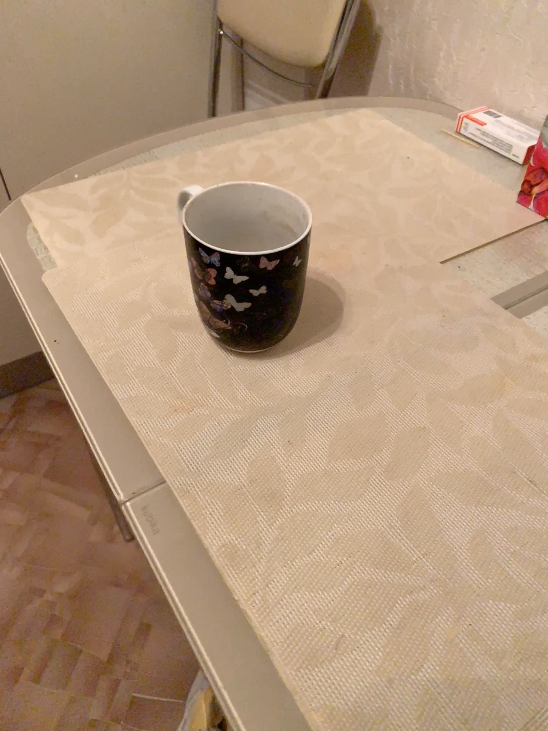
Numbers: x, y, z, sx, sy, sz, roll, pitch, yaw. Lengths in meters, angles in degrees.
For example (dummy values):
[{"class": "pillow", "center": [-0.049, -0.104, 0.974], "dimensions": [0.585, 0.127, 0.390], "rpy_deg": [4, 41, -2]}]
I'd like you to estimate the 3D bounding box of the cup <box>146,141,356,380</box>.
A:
[{"class": "cup", "center": [-0.019, -0.078, 0.398], "dimensions": [0.082, 0.097, 0.126], "rpy_deg": [-25, 51, -23]}]
